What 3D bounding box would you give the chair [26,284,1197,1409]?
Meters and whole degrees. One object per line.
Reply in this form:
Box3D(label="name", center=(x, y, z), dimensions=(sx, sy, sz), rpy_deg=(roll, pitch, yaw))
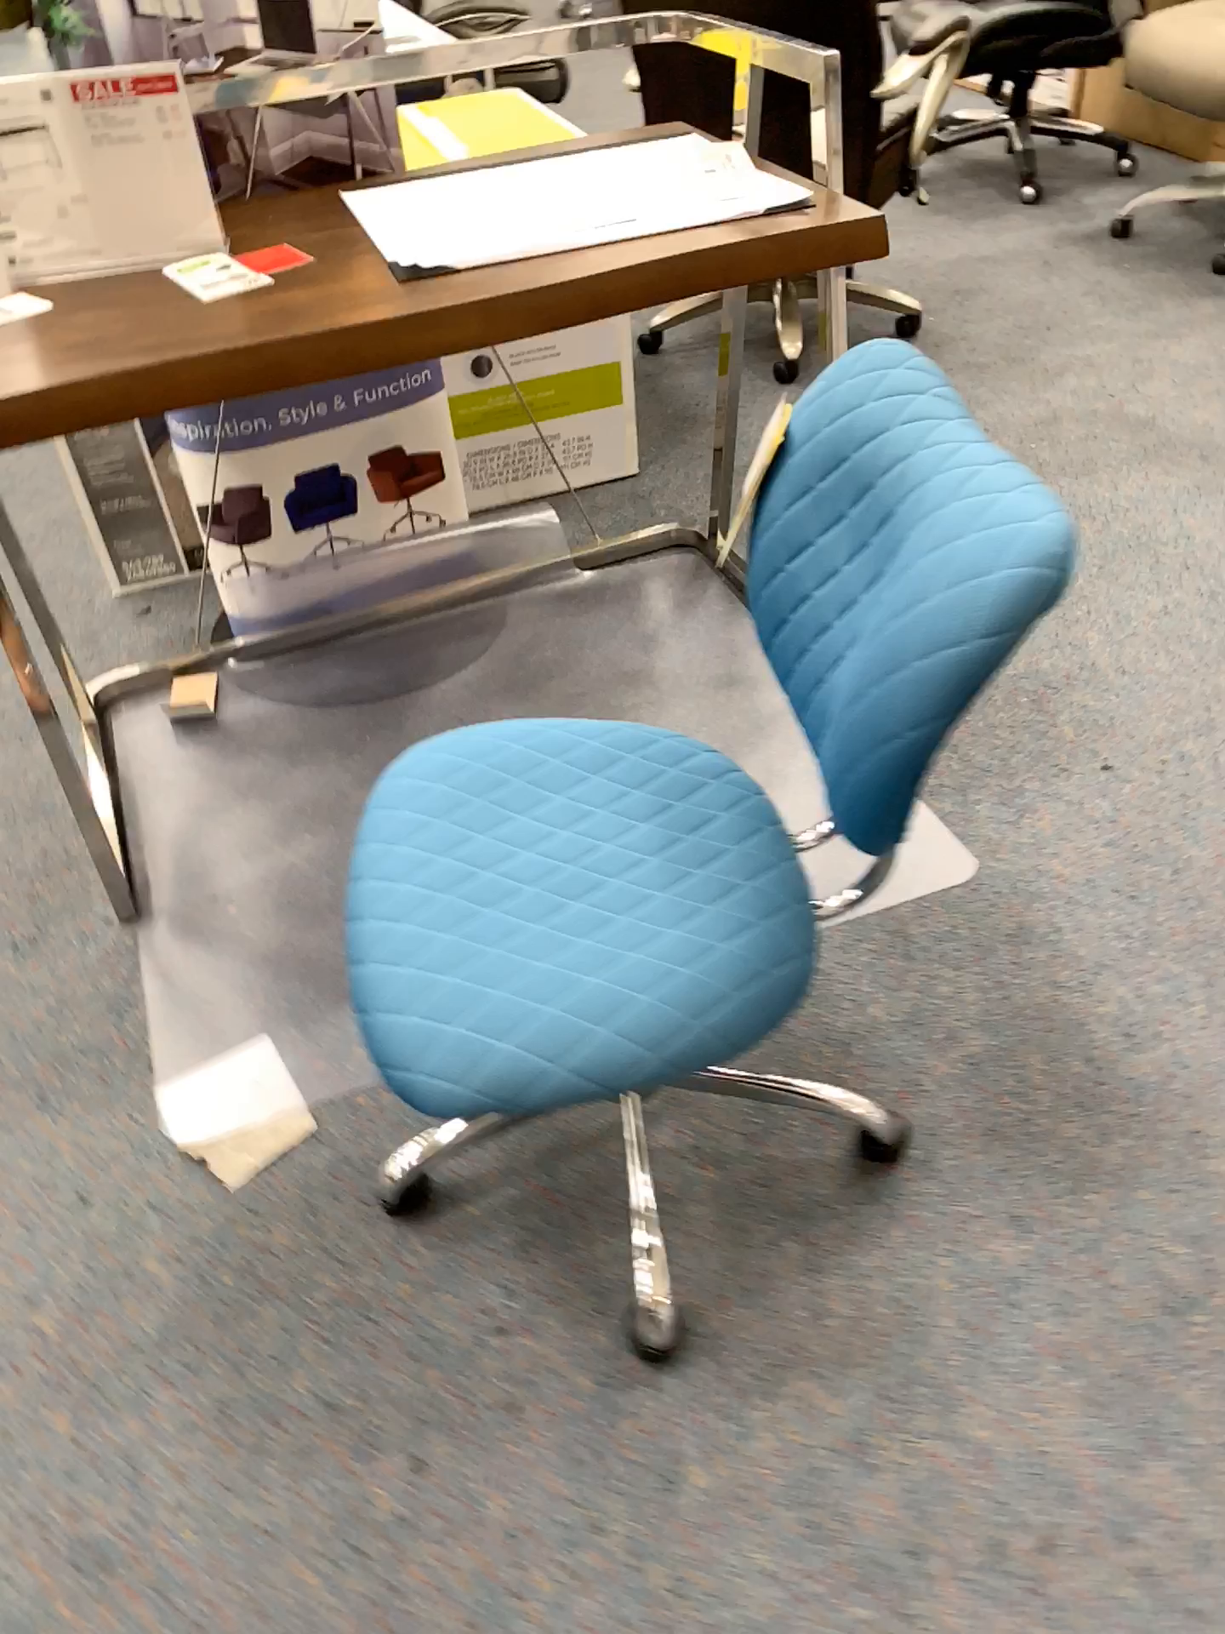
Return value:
Box3D(label="chair", center=(-0.007, 0.033, 1.179), dimensions=(0.664, 0.775, 0.601), rpy_deg=(-8, 42, -3))
